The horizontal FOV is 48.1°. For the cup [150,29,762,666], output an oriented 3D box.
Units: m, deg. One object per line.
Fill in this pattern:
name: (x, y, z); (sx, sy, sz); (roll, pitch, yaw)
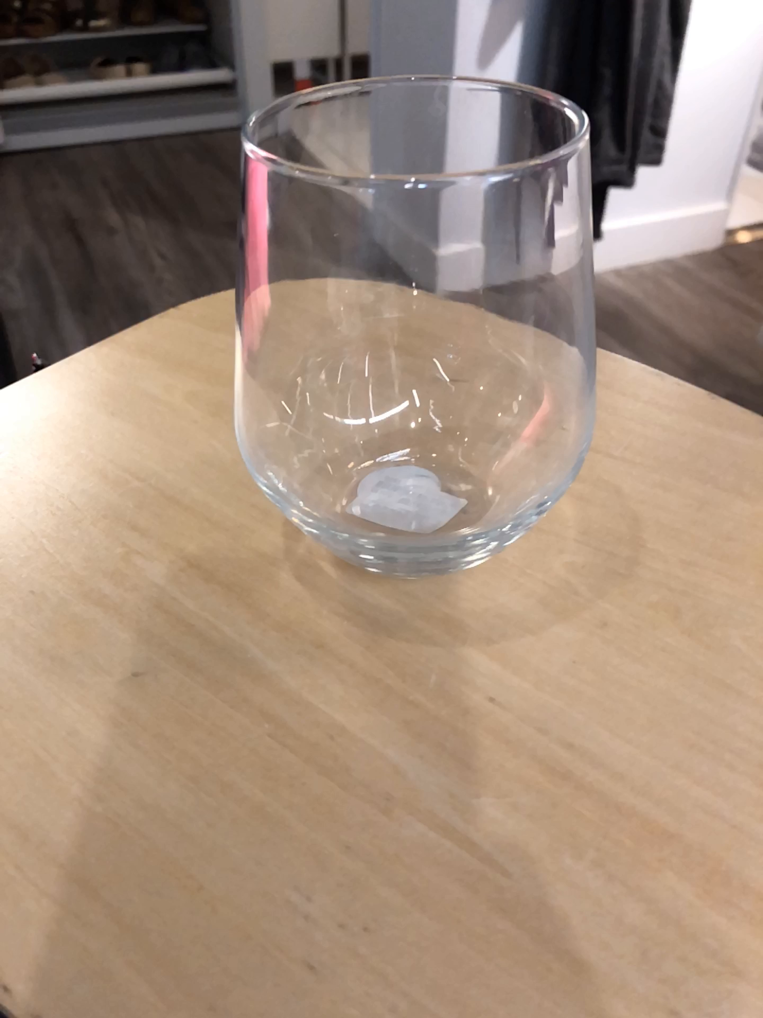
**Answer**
cup: (0.011, -0.043, 0.200); (0.090, 0.100, 0.090); (1, 40, 0)
